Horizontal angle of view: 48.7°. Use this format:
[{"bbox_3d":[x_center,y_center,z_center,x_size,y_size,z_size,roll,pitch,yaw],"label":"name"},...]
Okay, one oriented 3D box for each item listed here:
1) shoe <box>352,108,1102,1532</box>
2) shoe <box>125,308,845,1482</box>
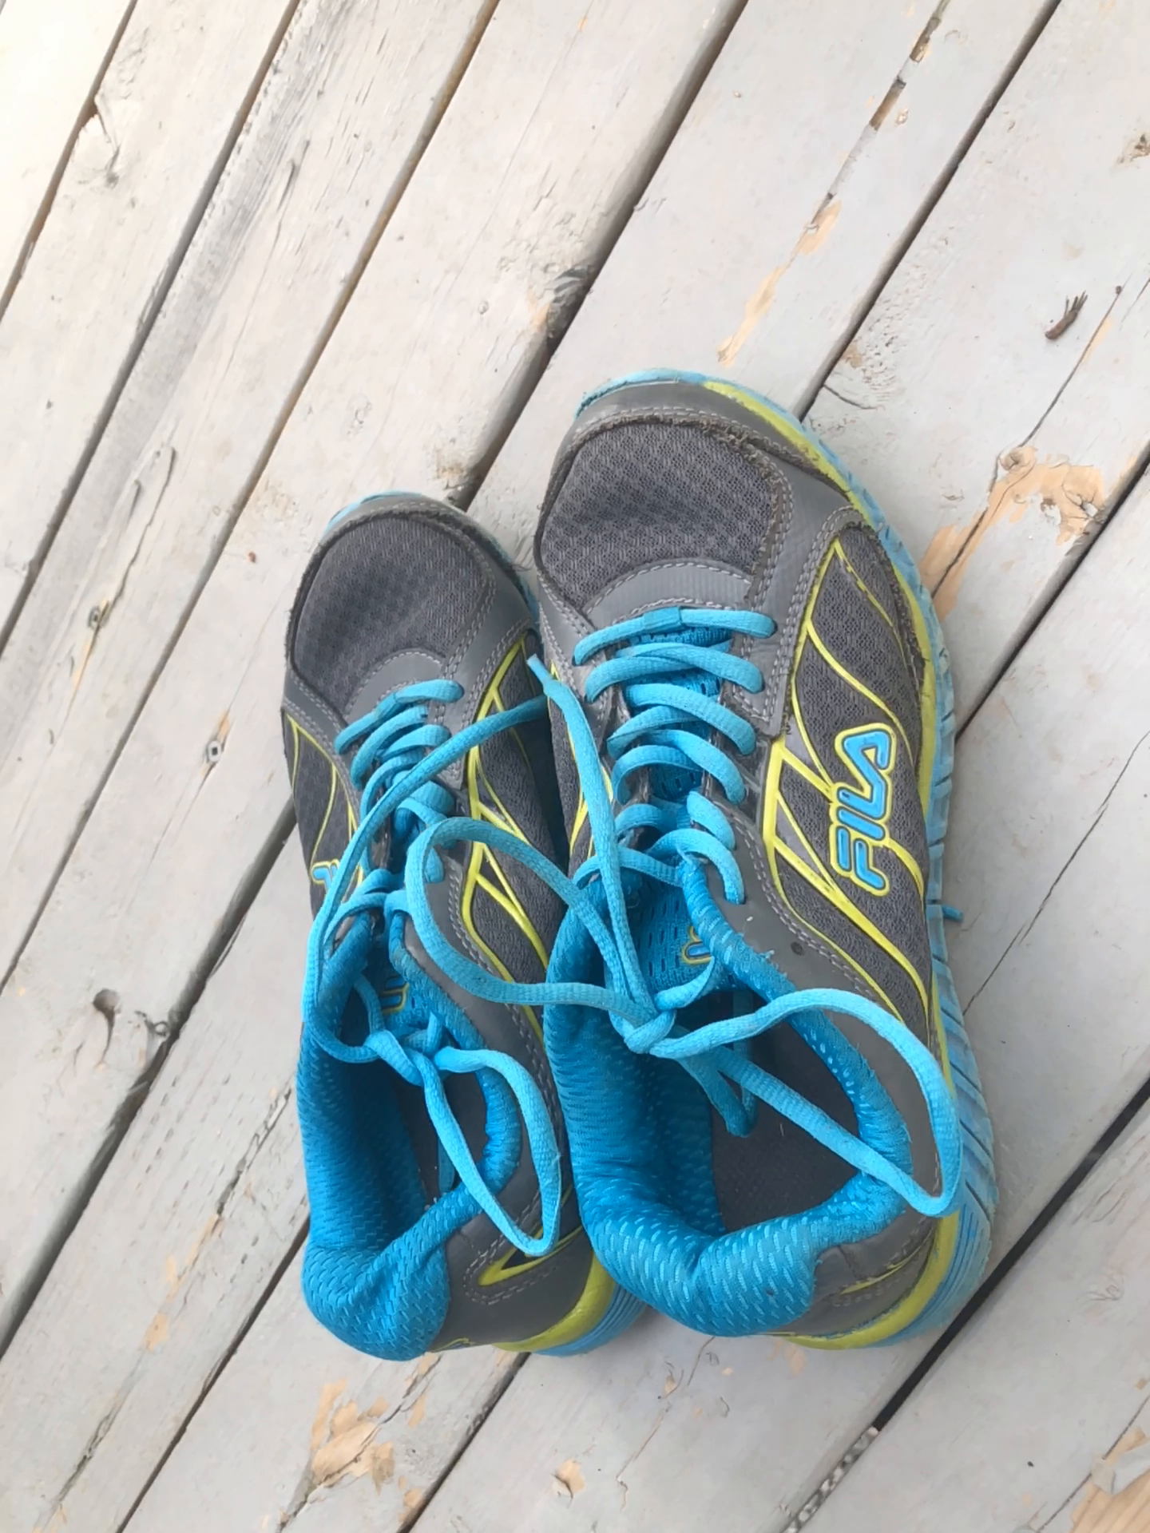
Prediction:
[{"bbox_3d":[0.033,0.014,0.310,0.110,0.090,0.280,-14,80,34],"label":"shoe"},{"bbox_3d":[-0.029,0.036,0.391,0.110,0.129,0.290,-19,78,33],"label":"shoe"}]
